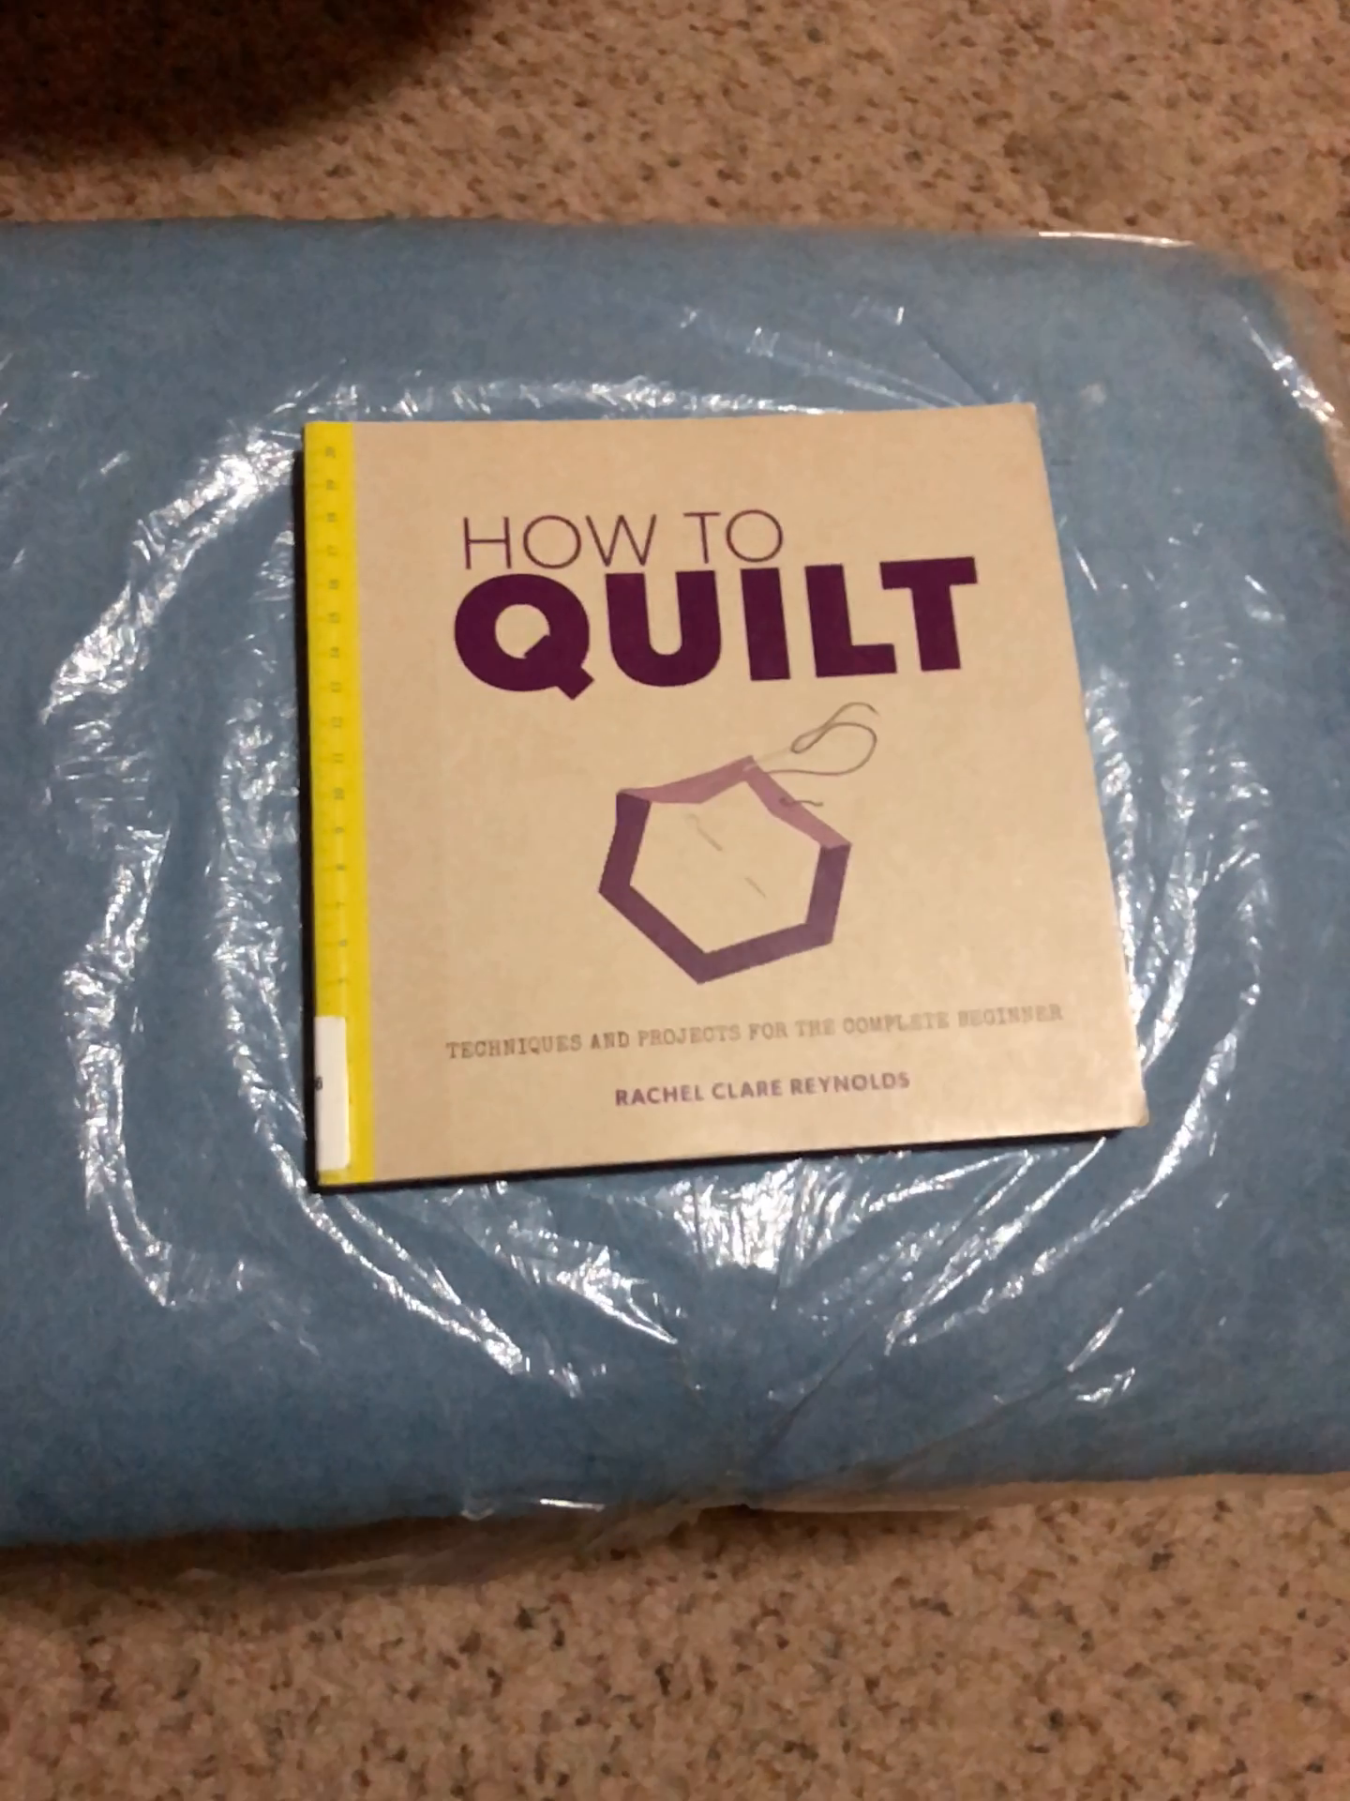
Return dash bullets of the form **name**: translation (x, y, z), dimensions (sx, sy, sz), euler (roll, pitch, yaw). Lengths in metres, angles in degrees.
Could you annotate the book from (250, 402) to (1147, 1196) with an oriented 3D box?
- **book**: translation (0.001, -0.032, 0.379), dimensions (0.208, 0.020, 0.194), euler (-3, 76, -5)
